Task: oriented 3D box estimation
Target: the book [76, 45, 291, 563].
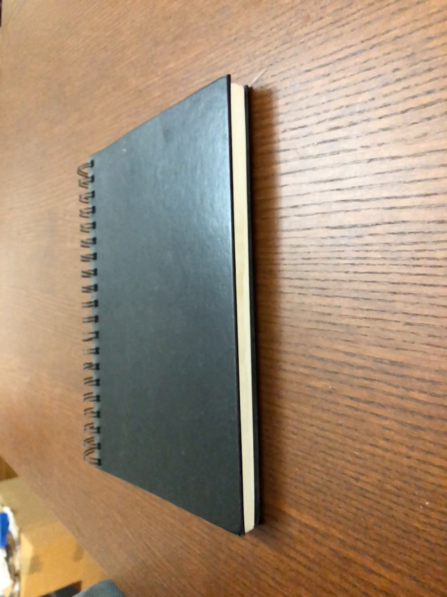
[{"bbox_3d":[-0.043,0.005,0.338,0.201,0.030,0.260,-5,86,51],"label":"book"}]
